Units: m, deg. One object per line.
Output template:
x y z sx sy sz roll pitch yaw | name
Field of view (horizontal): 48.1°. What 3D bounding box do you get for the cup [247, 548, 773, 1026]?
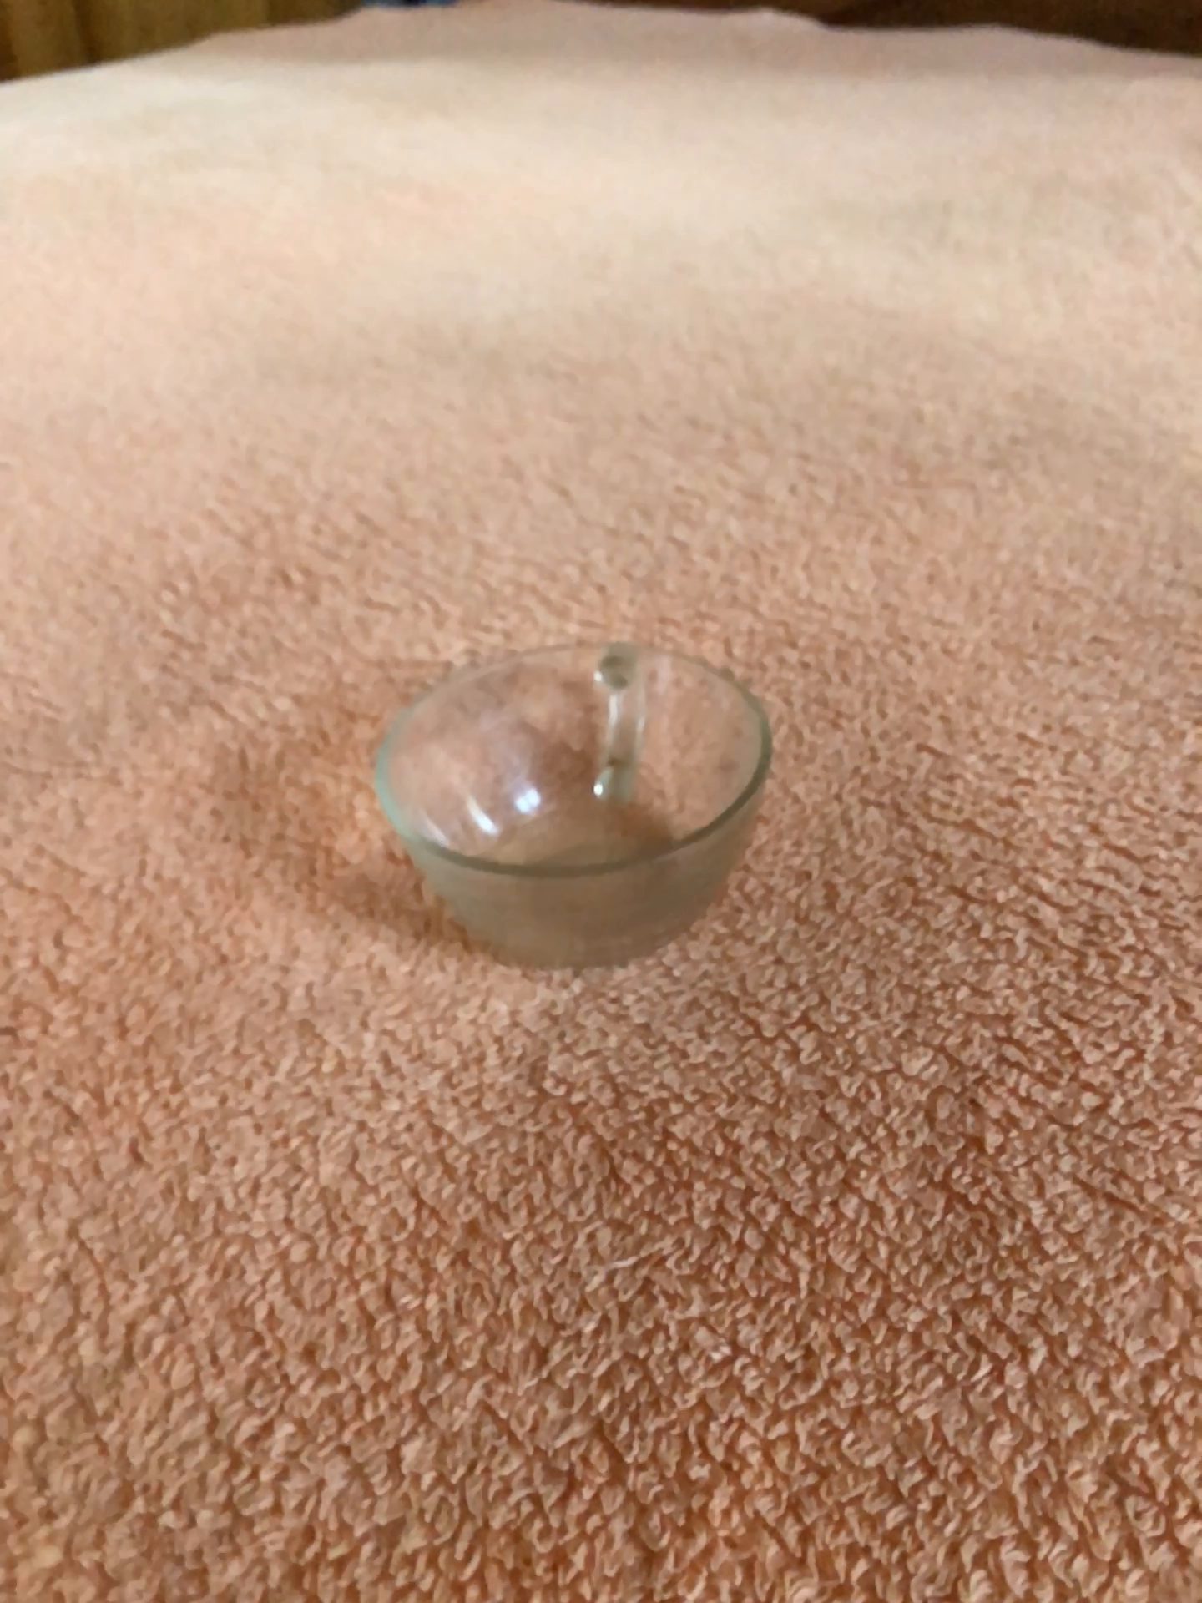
-0.011 -0.010 0.291 0.090 0.040 0.111 3 39 7 | cup
